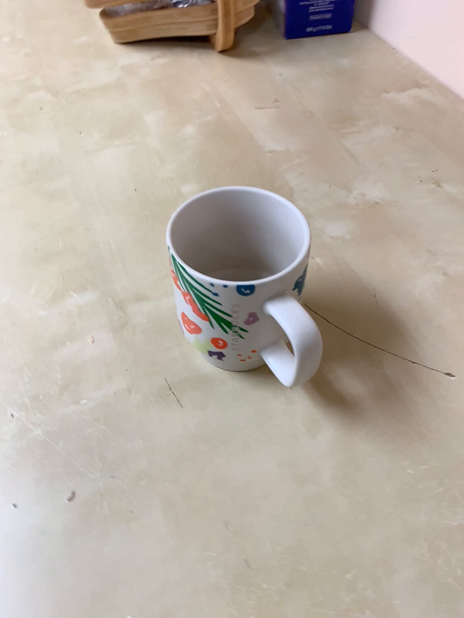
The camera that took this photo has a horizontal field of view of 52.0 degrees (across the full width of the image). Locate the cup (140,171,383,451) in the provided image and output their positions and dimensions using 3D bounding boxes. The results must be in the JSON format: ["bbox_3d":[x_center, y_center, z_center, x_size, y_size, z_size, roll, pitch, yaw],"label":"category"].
[{"bbox_3d":[0.011,-0.002,0.302,0.082,0.095,0.128,-23,54,-17],"label":"cup"}]
